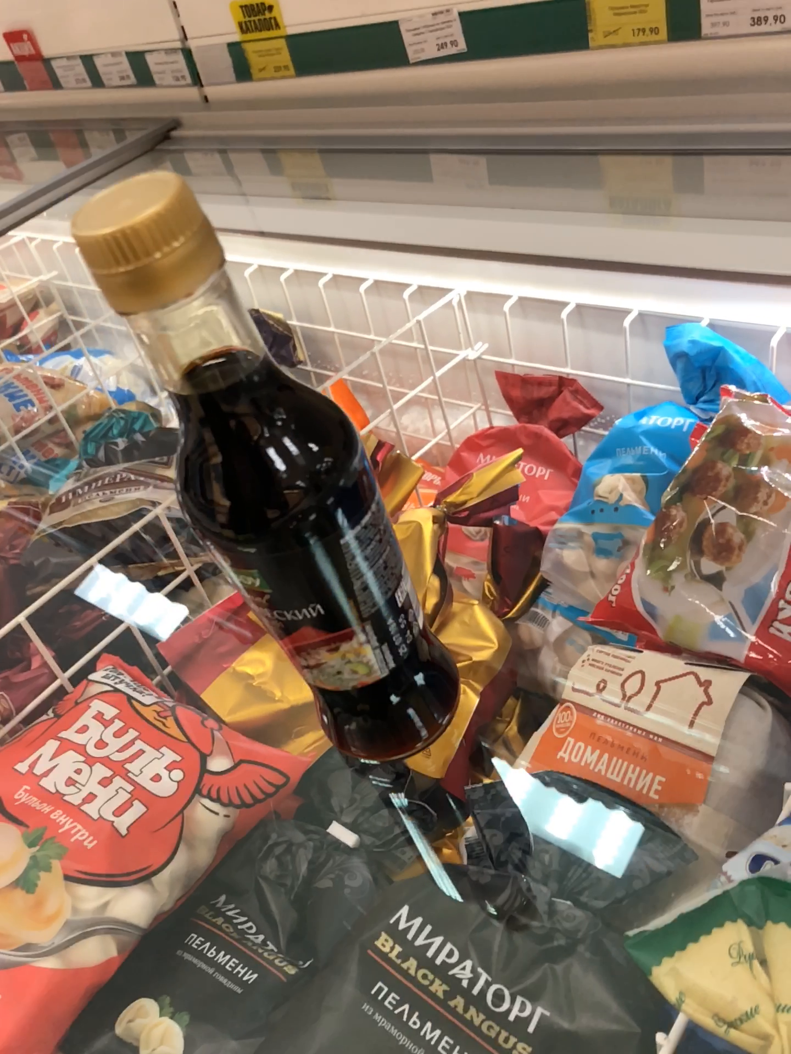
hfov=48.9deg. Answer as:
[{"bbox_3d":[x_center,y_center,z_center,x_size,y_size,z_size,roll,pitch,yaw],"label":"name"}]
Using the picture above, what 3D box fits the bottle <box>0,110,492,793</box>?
[{"bbox_3d":[-0.030,-0.005,0.288,0.061,0.230,0.062,-11,43,11],"label":"bottle"}]
